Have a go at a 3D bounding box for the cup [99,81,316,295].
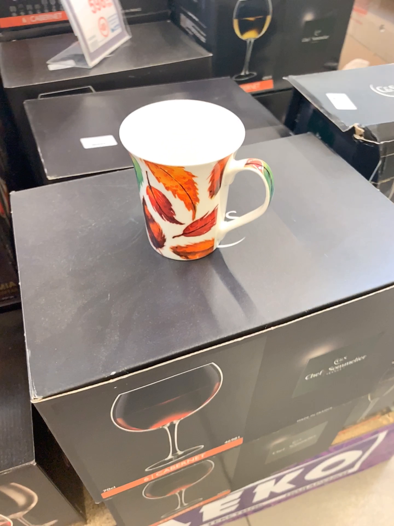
[{"bbox_3d":[0.009,-0.061,0.315,0.120,0.100,0.090,22,50,20],"label":"cup"}]
